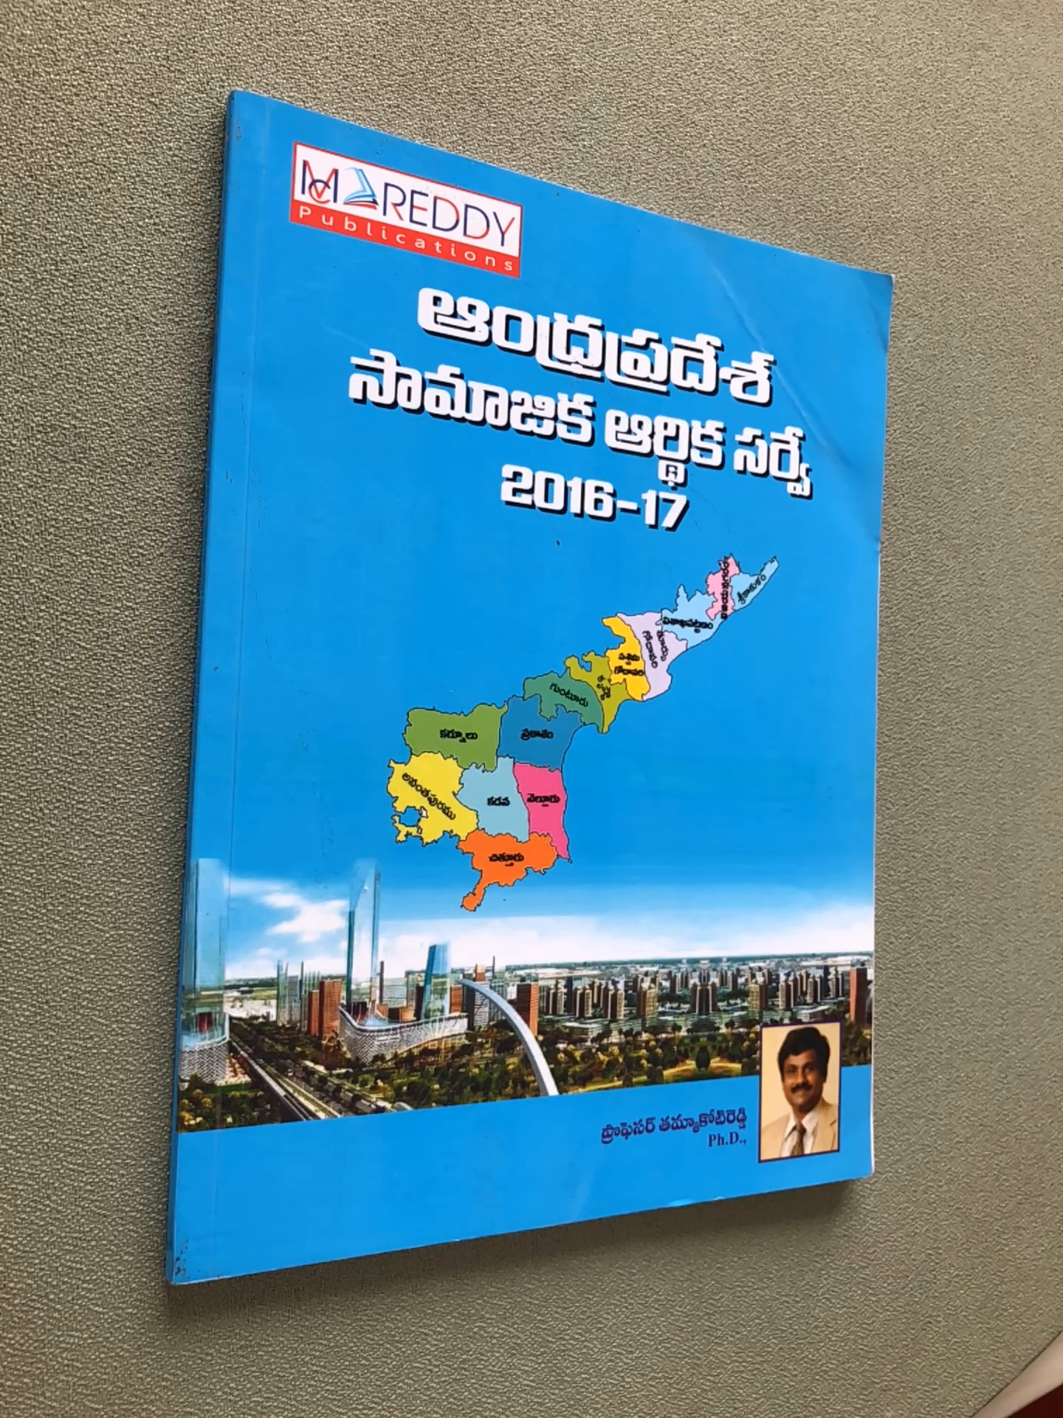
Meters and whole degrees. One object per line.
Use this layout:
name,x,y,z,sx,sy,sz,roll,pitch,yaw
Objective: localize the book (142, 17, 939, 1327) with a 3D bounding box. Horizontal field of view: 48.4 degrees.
book,0.015,-0.005,0.266,0.180,0.020,0.240,4,87,-27
